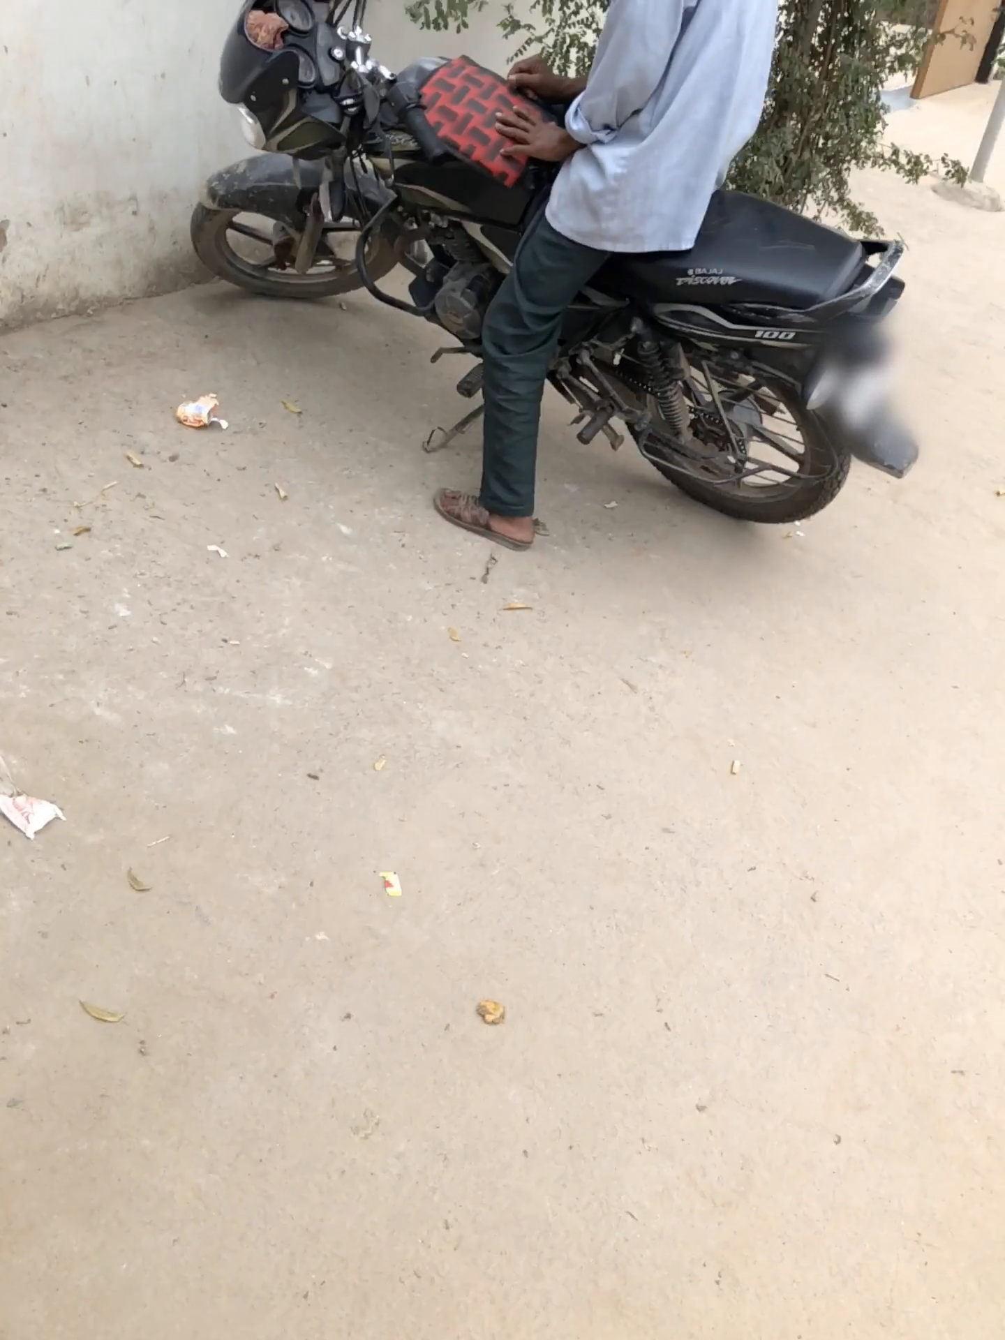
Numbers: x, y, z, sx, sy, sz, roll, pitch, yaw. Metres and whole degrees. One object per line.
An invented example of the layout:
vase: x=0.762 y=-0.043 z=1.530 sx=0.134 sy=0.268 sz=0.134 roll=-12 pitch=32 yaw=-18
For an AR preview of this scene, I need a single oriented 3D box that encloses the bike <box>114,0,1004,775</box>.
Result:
bike: x=0.065 y=-0.836 z=2.326 sx=1.497 sy=1.332 sz=0.791 roll=25 pitch=40 yaw=17
